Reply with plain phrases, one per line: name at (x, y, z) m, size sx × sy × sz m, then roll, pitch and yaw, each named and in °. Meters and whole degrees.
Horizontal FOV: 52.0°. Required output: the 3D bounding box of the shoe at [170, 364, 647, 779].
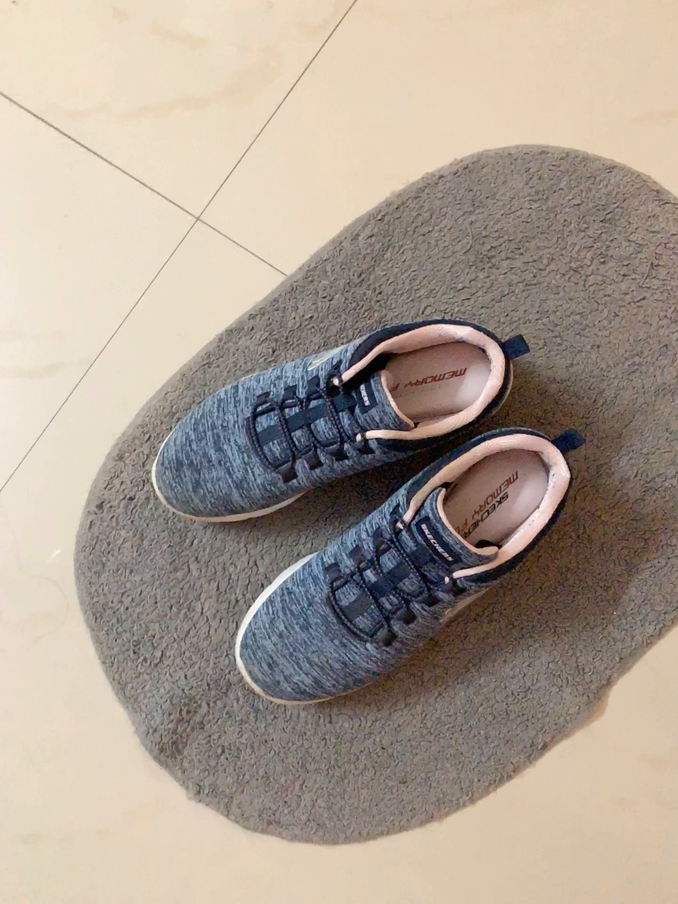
shoe at (0.045, 0.075, 0.475) m, size 0.290 × 0.100 × 0.100 m, roll -35°, pitch 82°, yaw -7°

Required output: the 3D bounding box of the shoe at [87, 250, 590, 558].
shoe at (0.000, -0.025, 0.442) m, size 0.270 × 0.100 × 0.090 m, roll -20°, pitch 84°, yaw -6°
